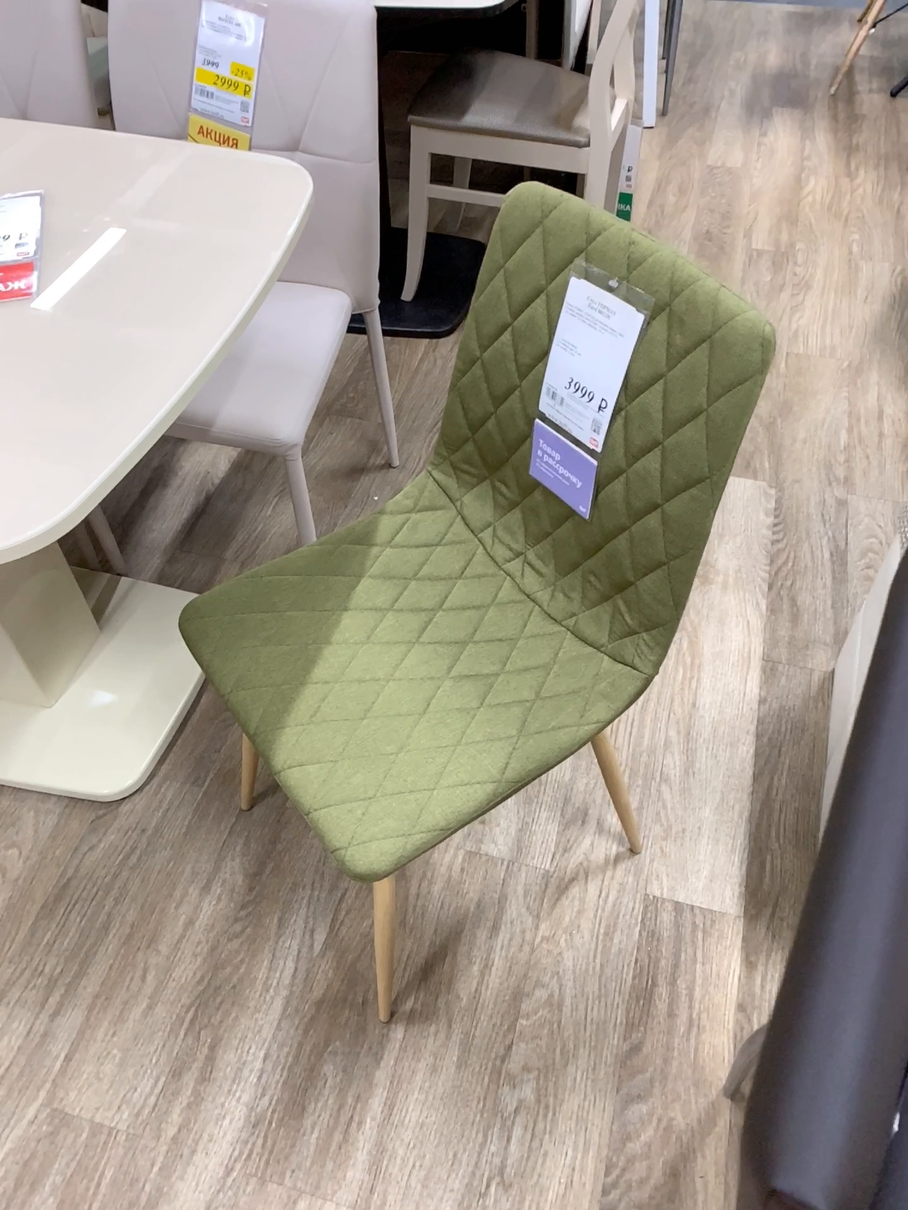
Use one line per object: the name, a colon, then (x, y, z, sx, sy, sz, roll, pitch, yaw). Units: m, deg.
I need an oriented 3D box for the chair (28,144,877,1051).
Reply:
chair: (-0.006, 0.028, 1.133, 0.561, 0.836, 0.501, -30, 55, -22)
